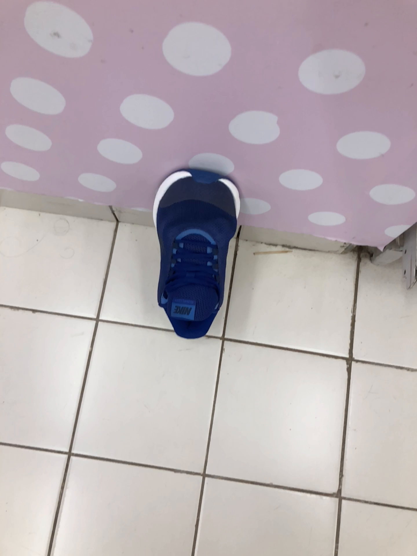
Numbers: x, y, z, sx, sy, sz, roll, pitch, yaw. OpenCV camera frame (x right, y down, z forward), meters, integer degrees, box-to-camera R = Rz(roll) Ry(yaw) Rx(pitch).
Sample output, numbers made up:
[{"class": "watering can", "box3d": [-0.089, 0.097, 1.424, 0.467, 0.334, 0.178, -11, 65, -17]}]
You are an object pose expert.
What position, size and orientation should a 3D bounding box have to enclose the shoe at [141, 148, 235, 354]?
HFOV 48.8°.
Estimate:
[{"class": "shoe", "box3d": [-0.027, -0.030, 0.602, 0.100, 0.239, 0.110, 5, 34, 0]}]
